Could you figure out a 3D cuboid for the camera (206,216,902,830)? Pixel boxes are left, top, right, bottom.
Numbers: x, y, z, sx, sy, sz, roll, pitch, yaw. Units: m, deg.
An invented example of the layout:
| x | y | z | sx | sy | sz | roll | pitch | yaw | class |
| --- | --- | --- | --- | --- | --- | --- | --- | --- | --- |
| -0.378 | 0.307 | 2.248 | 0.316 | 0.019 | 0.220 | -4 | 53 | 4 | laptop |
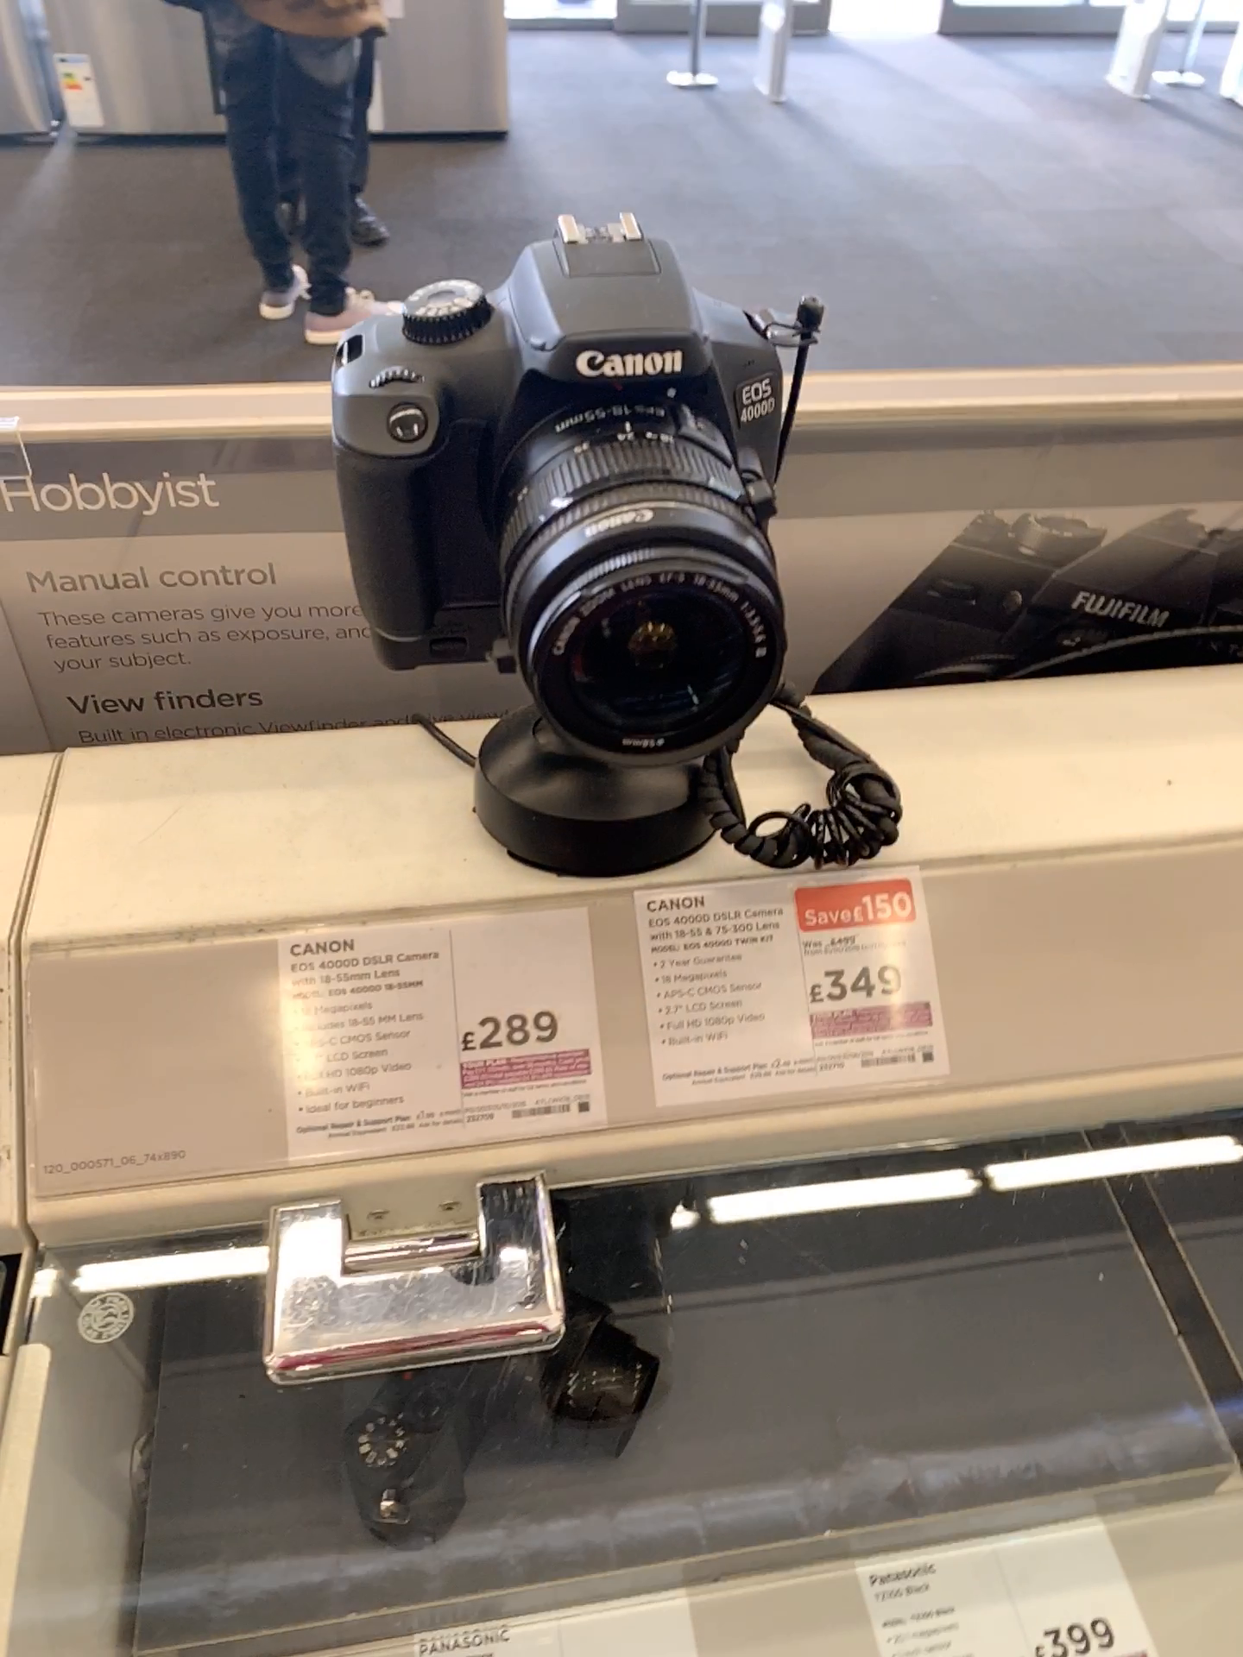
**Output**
| x | y | z | sx | sy | sz | roll | pitch | yaw | class |
| --- | --- | --- | --- | --- | --- | --- | --- | --- | --- |
| -0.020 | -0.086 | 0.340 | 0.140 | 0.101 | 0.137 | -2 | 44 | -5 | camera |
